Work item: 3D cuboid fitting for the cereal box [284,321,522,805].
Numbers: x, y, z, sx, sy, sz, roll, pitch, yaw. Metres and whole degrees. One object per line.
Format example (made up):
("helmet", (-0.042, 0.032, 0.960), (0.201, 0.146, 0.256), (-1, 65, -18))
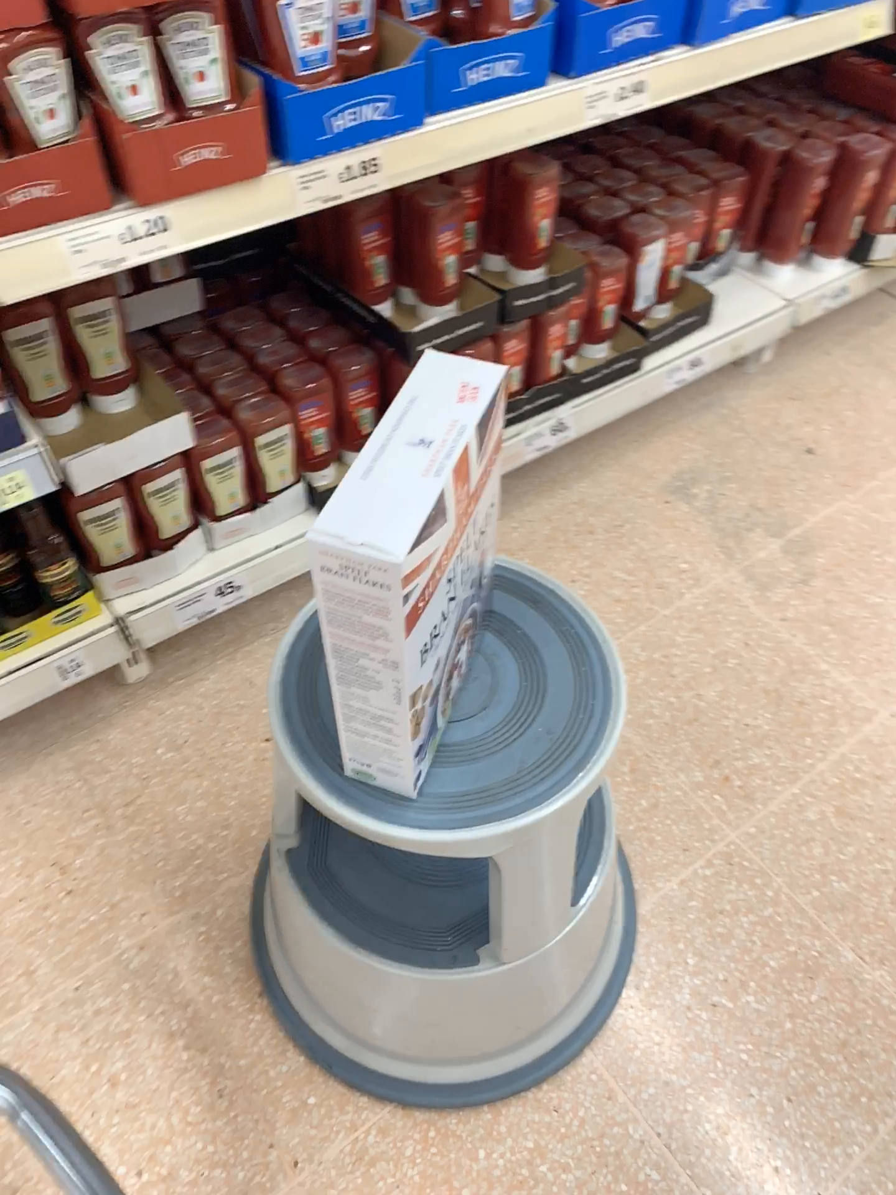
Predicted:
("cereal box", (-0.019, -0.017, 0.631), (0.070, 0.258, 0.201), (15, 49, 13))
